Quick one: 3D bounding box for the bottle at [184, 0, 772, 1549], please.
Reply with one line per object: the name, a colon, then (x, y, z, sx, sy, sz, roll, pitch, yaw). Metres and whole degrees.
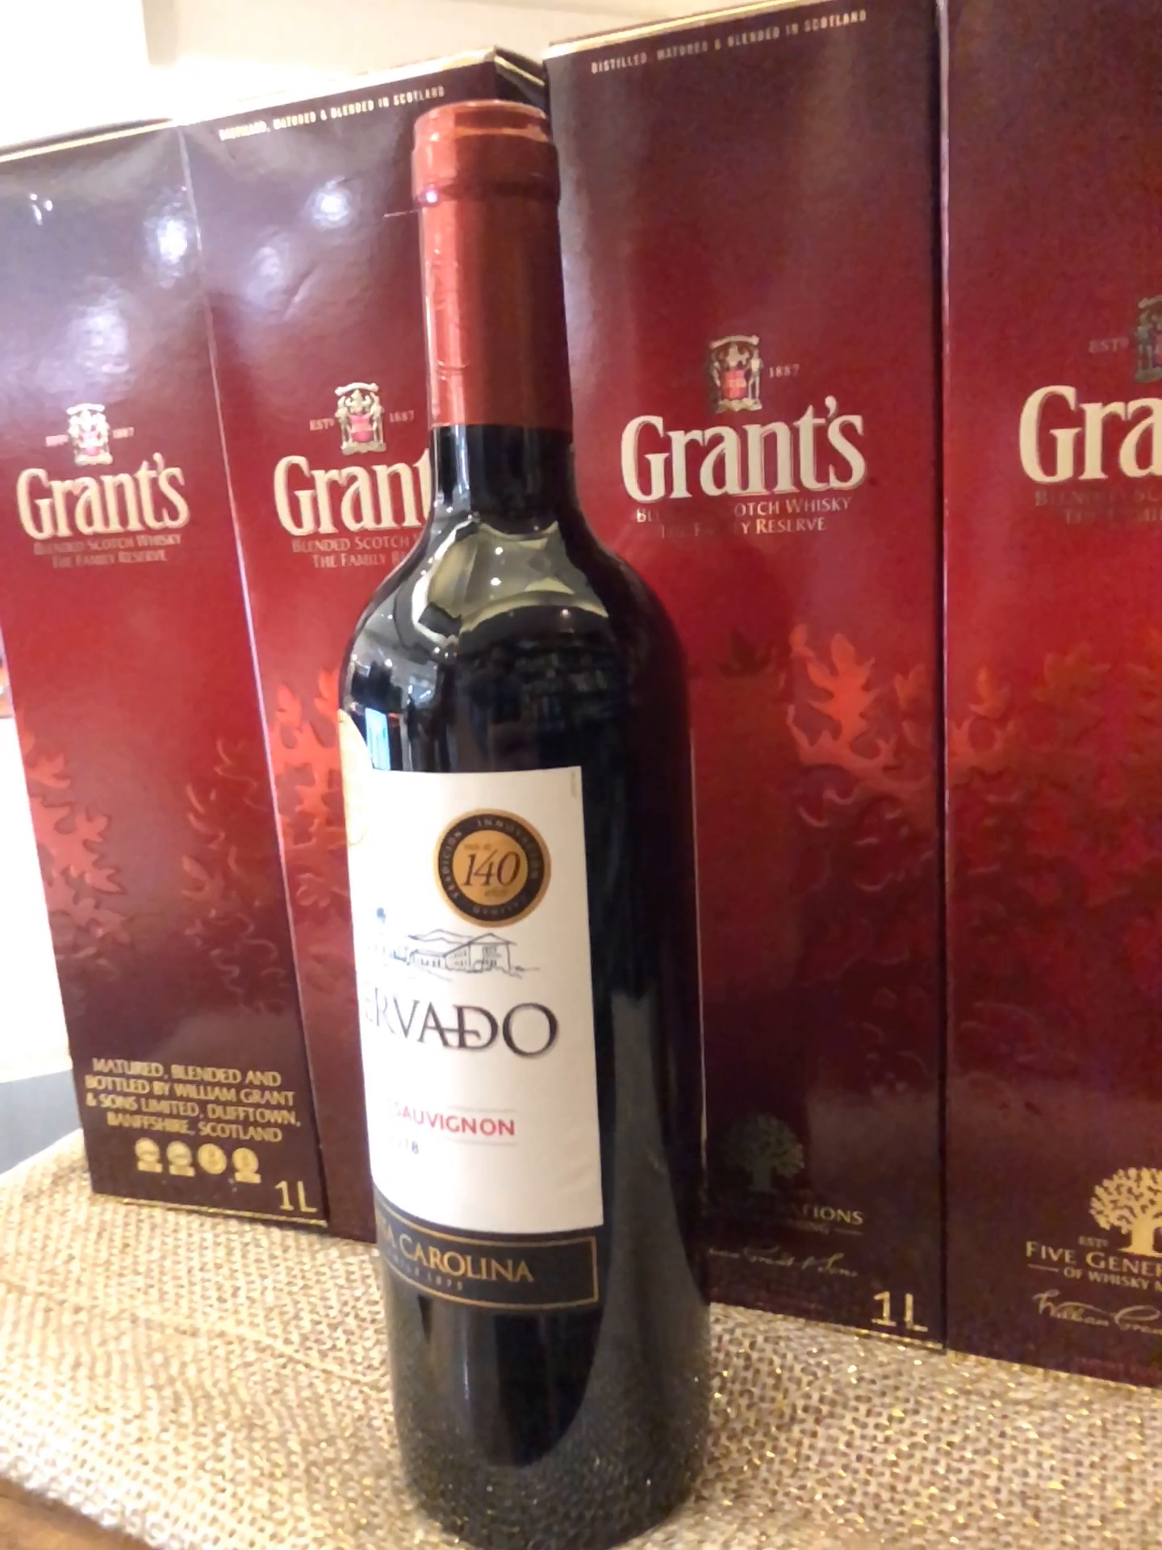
bottle: (-0.015, 0.012, 0.272, 0.080, 0.289, 0.070, 7, 15, 38)
